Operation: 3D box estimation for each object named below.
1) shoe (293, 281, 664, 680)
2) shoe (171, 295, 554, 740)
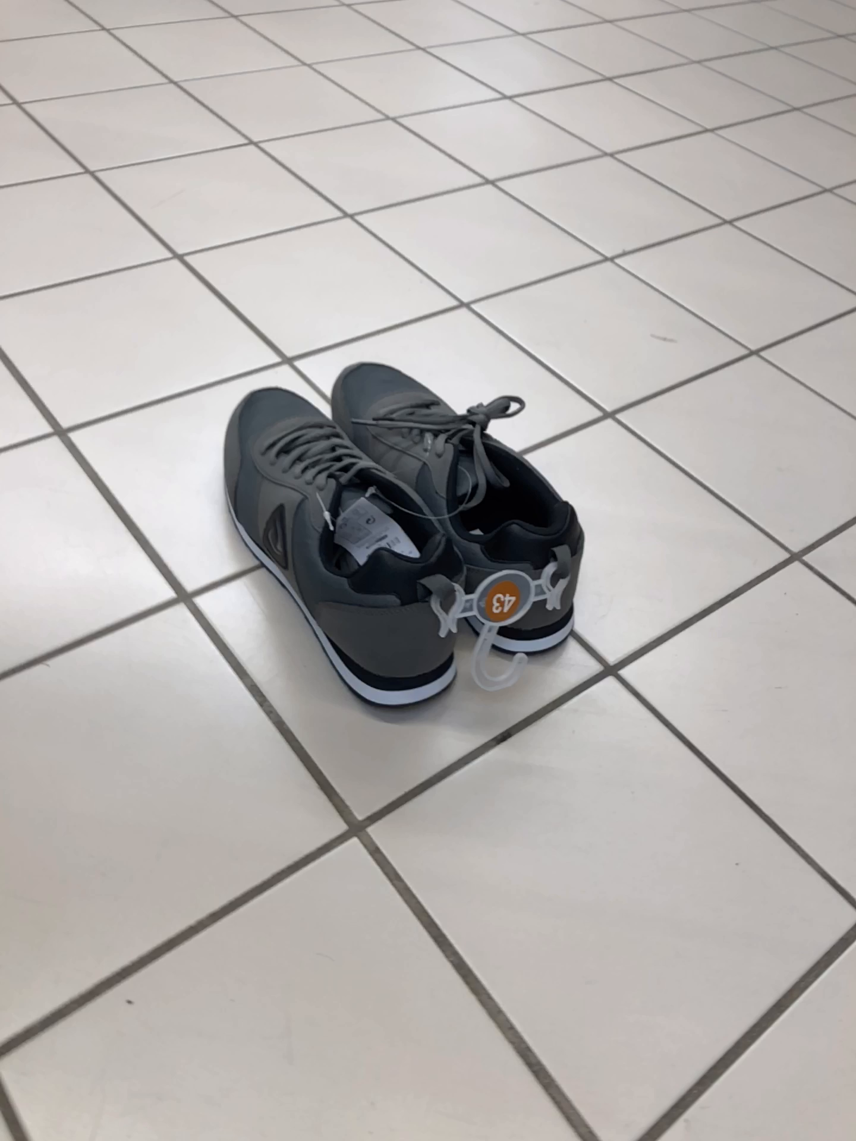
[{"bbox_3d":[0.017,-0.076,0.653,0.100,0.099,0.291,-20,52,-26],"label":"shoe"},{"bbox_3d":[-0.056,-0.049,0.597,0.100,0.099,0.291,-20,52,-26],"label":"shoe"}]
